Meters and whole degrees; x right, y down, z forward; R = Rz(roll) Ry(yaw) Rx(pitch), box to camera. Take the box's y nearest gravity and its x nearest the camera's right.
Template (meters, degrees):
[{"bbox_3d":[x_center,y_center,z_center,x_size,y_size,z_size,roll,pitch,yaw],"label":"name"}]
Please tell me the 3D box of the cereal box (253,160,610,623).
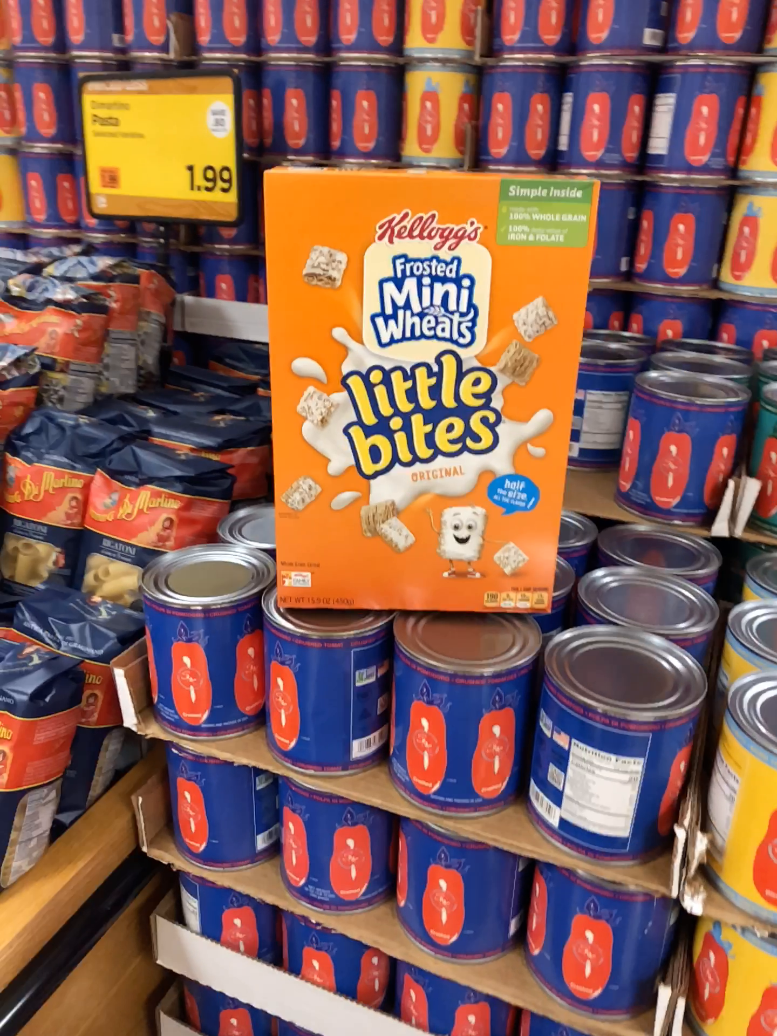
[{"bbox_3d":[0.019,-0.075,0.561,0.200,0.288,0.060,2,23,-1],"label":"cereal box"}]
